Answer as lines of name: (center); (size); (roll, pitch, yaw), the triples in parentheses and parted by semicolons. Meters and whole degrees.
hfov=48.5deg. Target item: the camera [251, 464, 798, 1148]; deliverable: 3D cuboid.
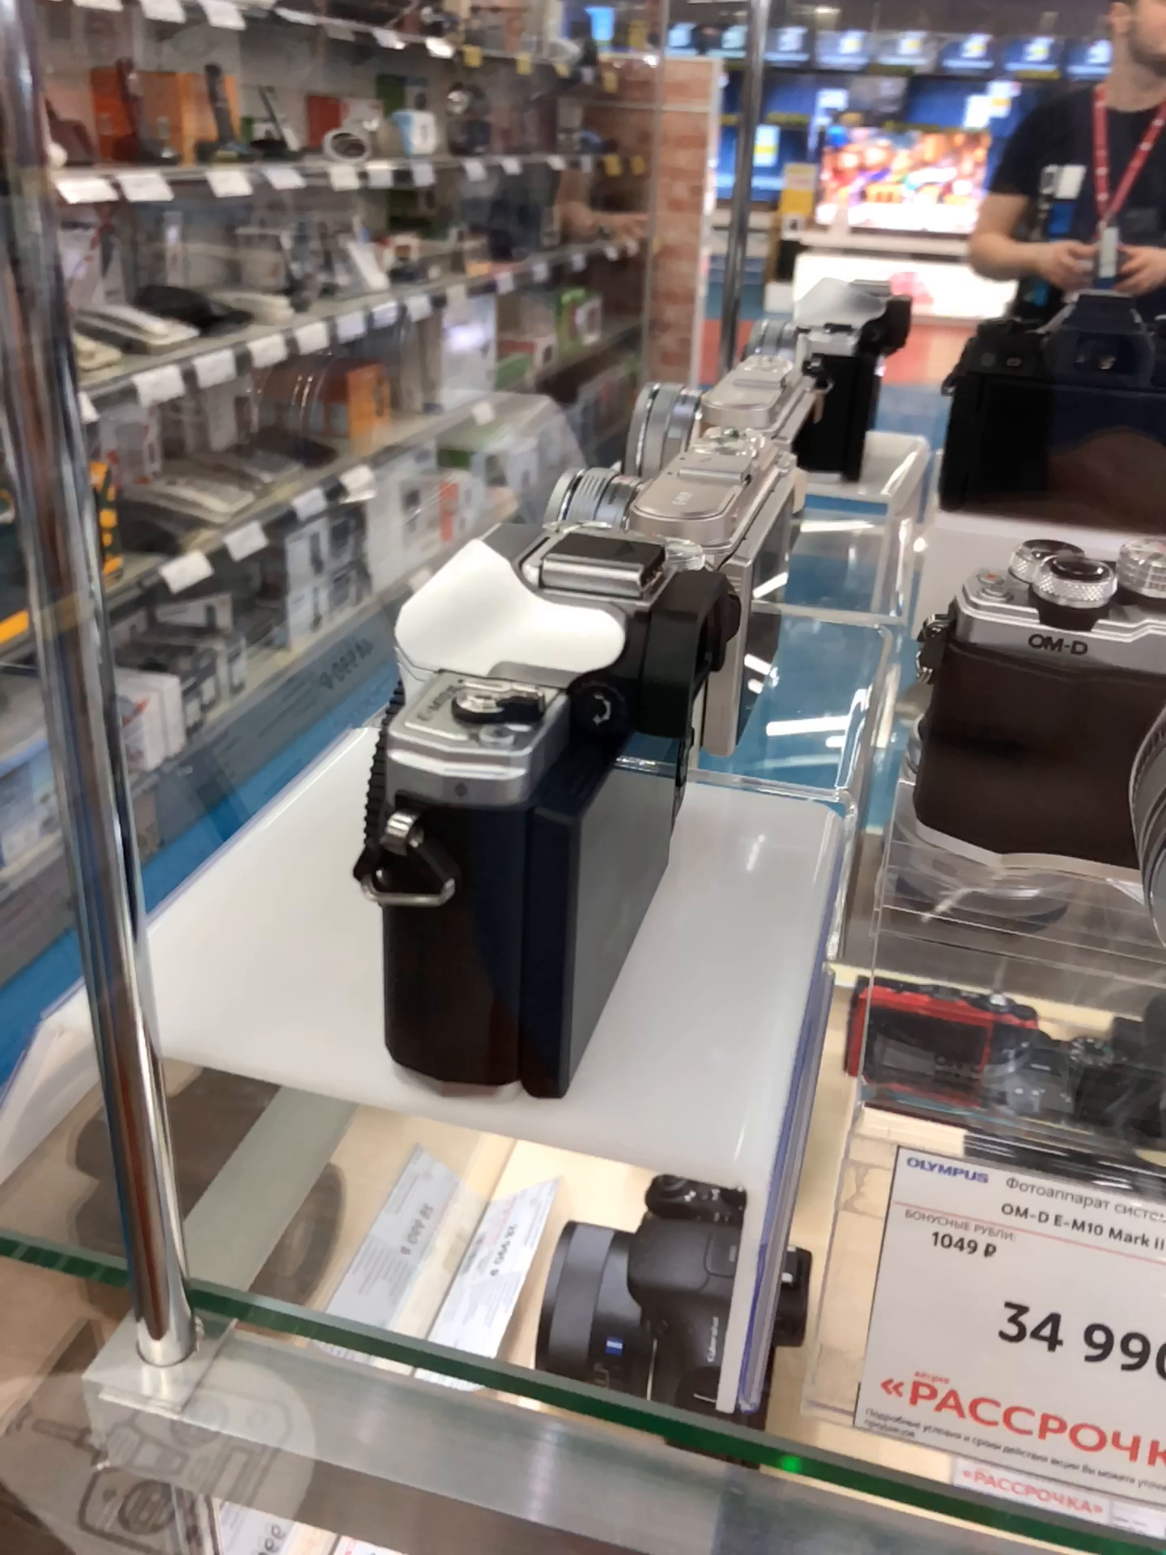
camera: (-0.002, -0.006, 0.250); (0.064, 0.077, 0.122); (9, 27, 13)

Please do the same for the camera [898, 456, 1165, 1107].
camera: (0.142, -0.009, 0.273); (0.136, 0.084, 0.102); (8, 27, 10)

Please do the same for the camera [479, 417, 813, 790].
camera: (0.023, -0.059, 0.388); (0.068, 0.068, 0.125); (10, 27, 14)
